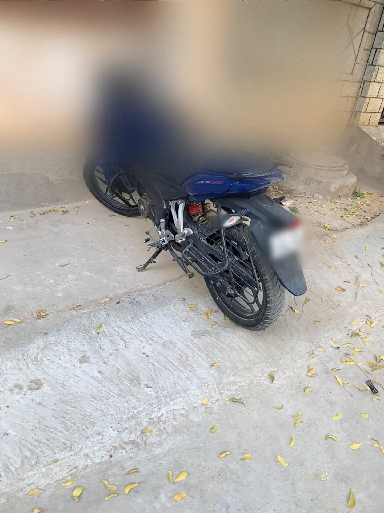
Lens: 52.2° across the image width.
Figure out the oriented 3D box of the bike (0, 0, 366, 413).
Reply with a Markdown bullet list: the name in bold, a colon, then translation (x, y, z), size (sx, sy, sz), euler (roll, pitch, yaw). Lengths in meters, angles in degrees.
- **bike**: translation (-0.281, -0.436, 1.973), size (0.955, 1.218, 1.569), euler (-20, 47, -41)
